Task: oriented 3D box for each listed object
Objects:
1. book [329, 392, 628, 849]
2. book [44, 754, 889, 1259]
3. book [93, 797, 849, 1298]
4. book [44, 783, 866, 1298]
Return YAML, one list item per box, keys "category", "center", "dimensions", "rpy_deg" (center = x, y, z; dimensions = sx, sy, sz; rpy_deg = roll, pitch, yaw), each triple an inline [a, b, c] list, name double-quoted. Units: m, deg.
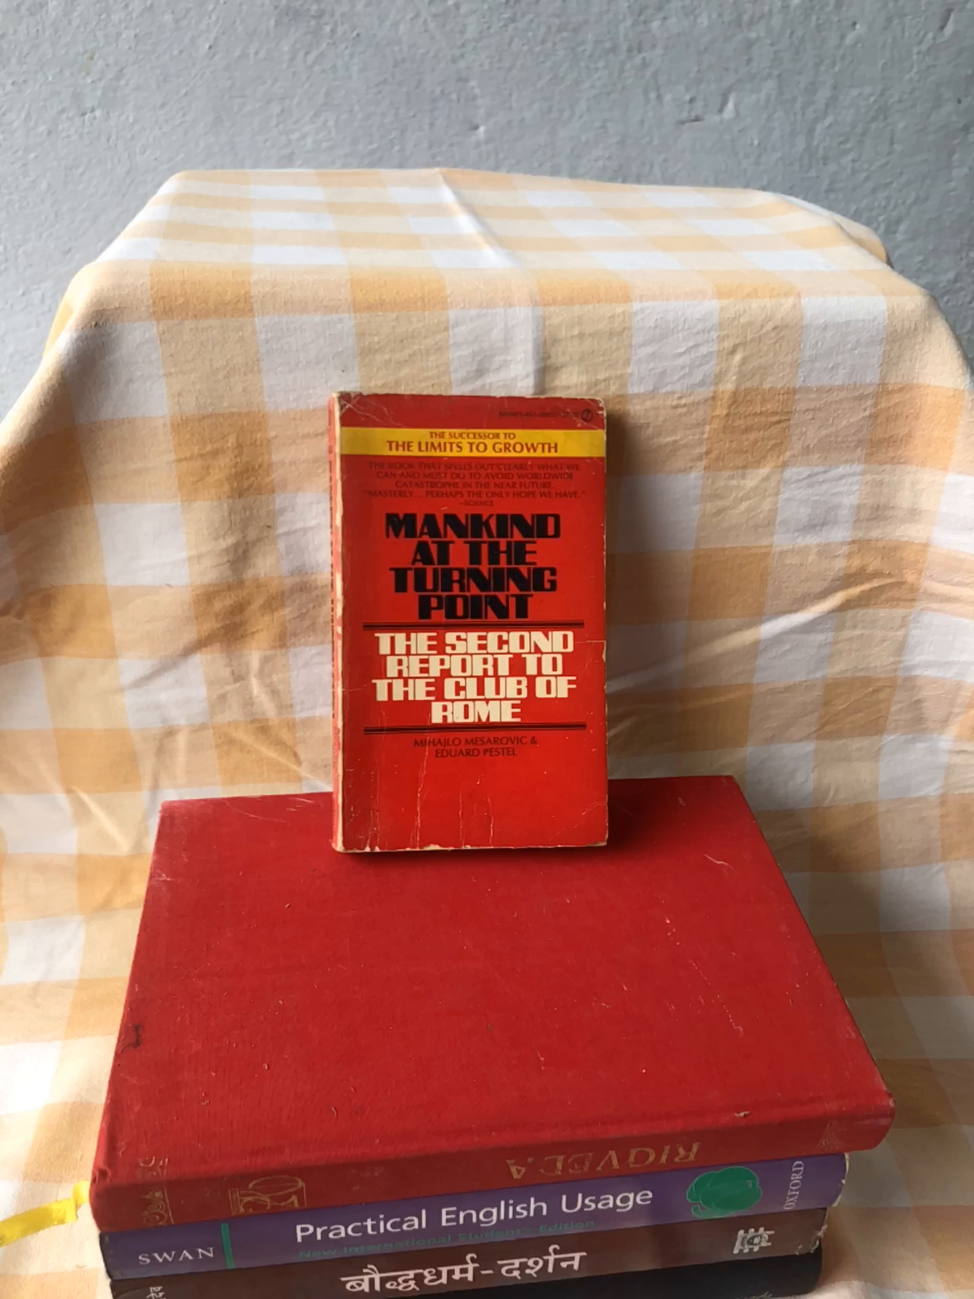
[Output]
- category: "book"
  center: [-0.005, -0.012, 0.426]
  dimensions: [0.110, 0.170, 0.040]
  rpy_deg: [-1, 8, -7]
- category: "book"
  center: [-0.012, 0.129, 0.447]
  dimensions: [0.280, 0.040, 0.191]
  rpy_deg: [-4, 33, -5]
- category: "book"
  center: [-0.011, 0.146, 0.432]
  dimensions: [0.240, 0.040, 0.191]
  rpy_deg: [-4, 33, -5]
- category: "book"
  center: [-0.016, 0.142, 0.444]
  dimensions: [0.270, 0.040, 0.191]
  rpy_deg: [-4, 33, -5]
